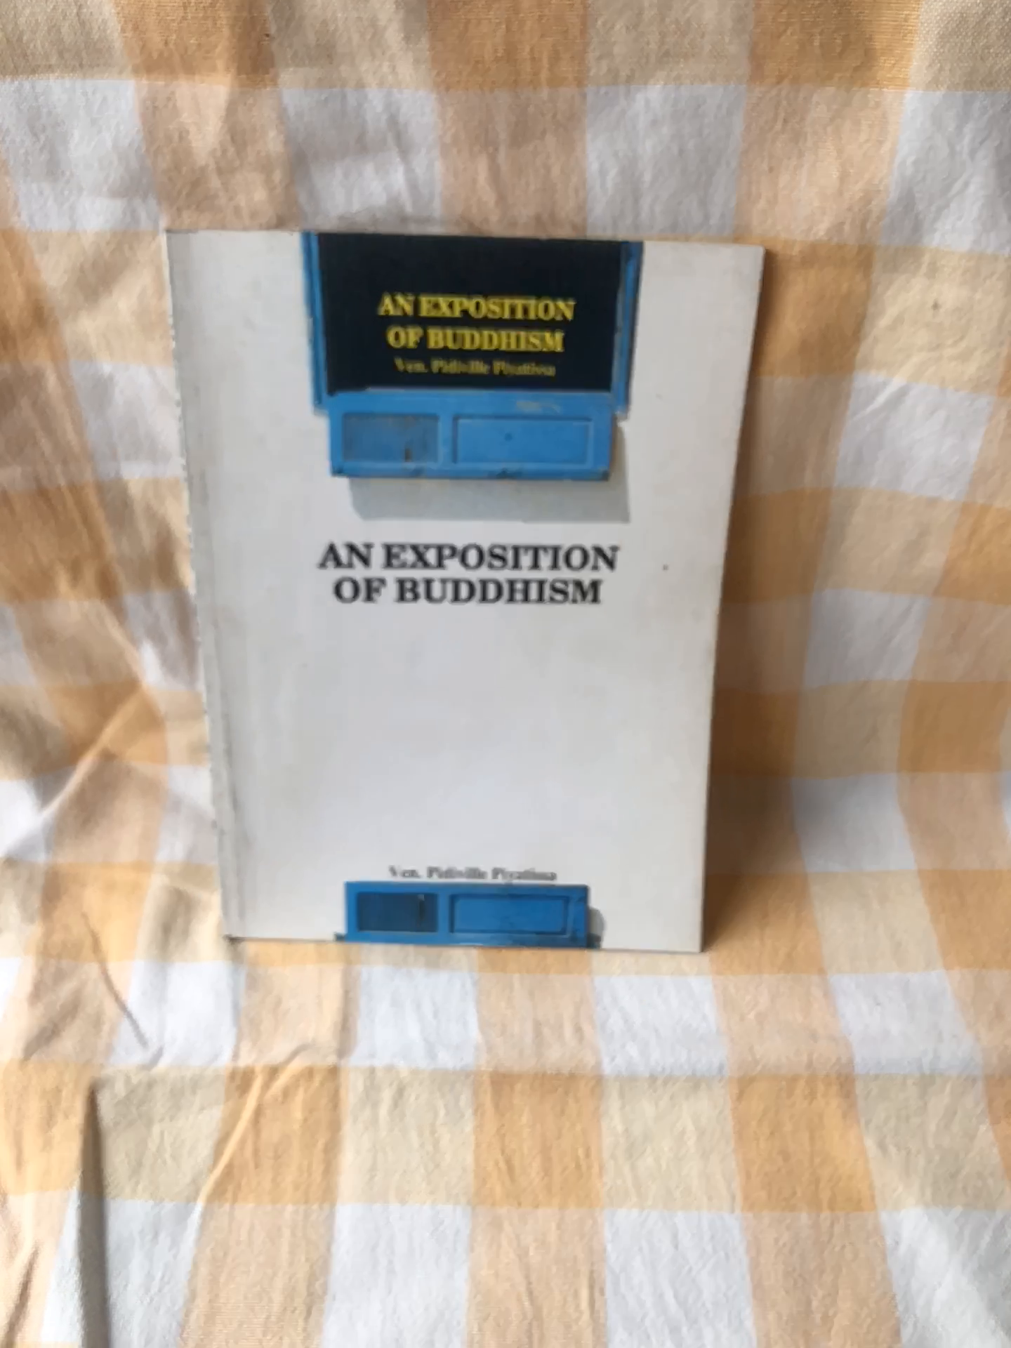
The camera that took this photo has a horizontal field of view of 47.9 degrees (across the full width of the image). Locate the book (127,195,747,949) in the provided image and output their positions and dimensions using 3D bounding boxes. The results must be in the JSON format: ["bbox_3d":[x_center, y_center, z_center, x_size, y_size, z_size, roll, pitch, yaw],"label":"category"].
[{"bbox_3d":[-0.016,-0.019,0.303,0.140,0.199,0.020,1,22,3],"label":"book"}]
